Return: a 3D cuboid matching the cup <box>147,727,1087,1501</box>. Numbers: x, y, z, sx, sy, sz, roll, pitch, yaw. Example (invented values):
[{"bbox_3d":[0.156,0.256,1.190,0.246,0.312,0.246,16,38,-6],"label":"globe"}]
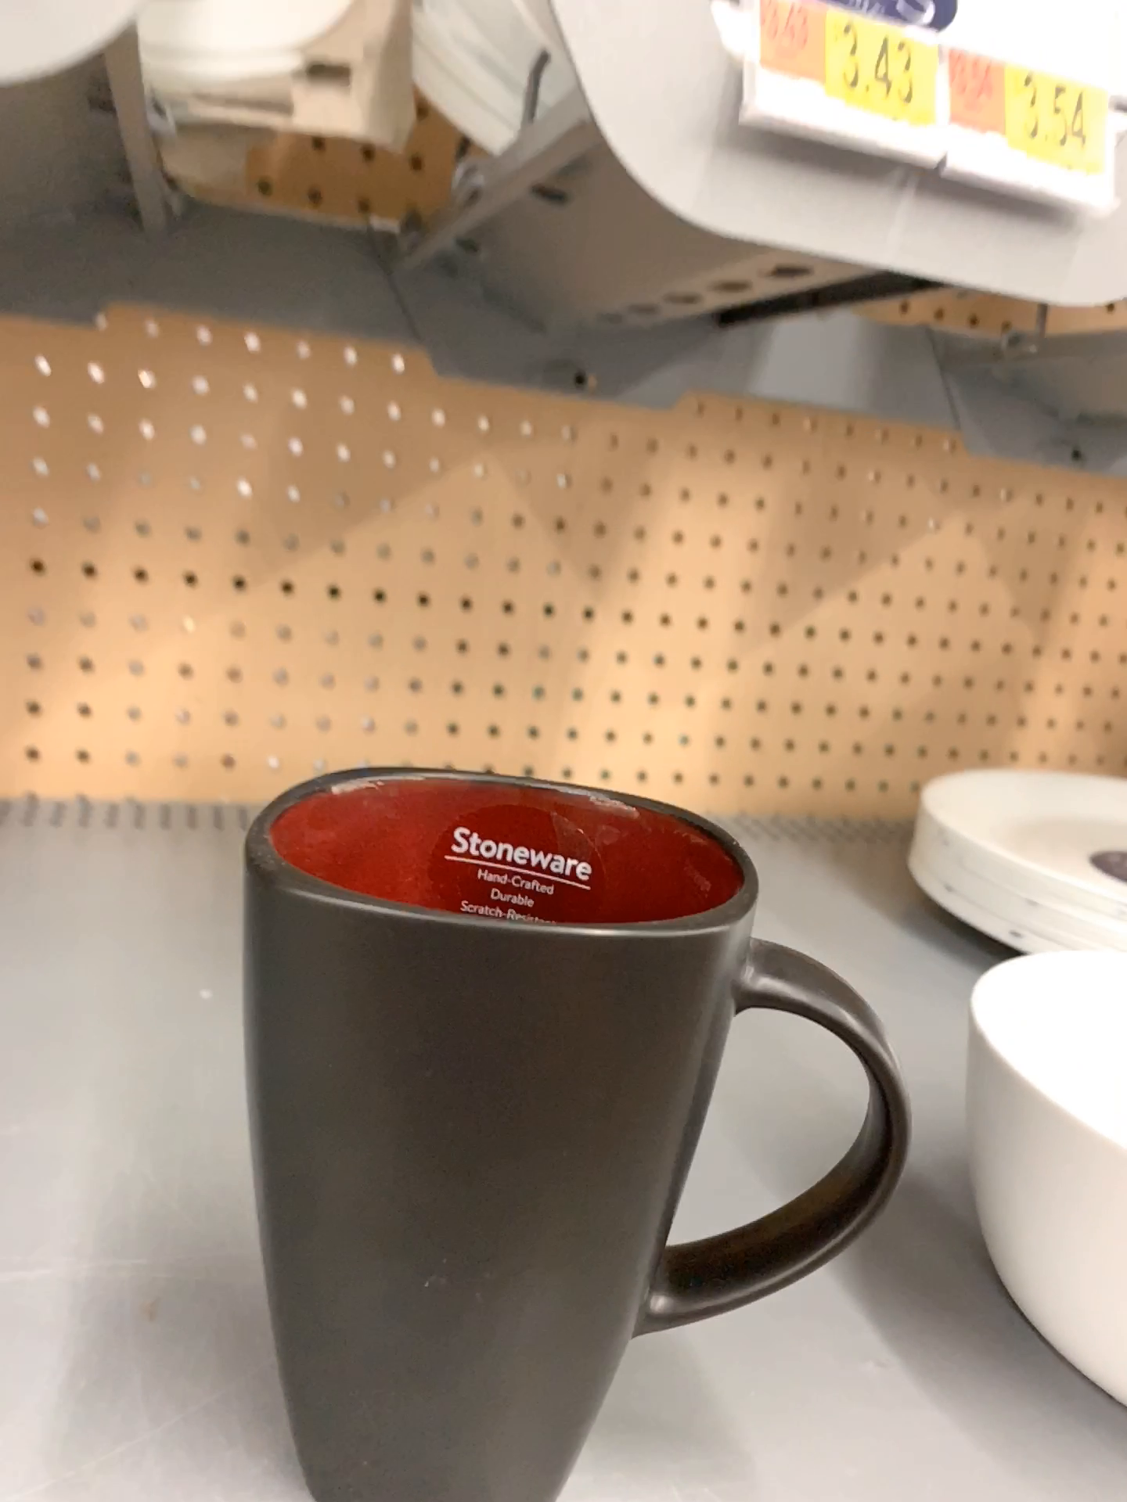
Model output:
[{"bbox_3d":[0.001,0.075,0.224,0.130,0.130,0.090,5,13,-7],"label":"cup"}]
